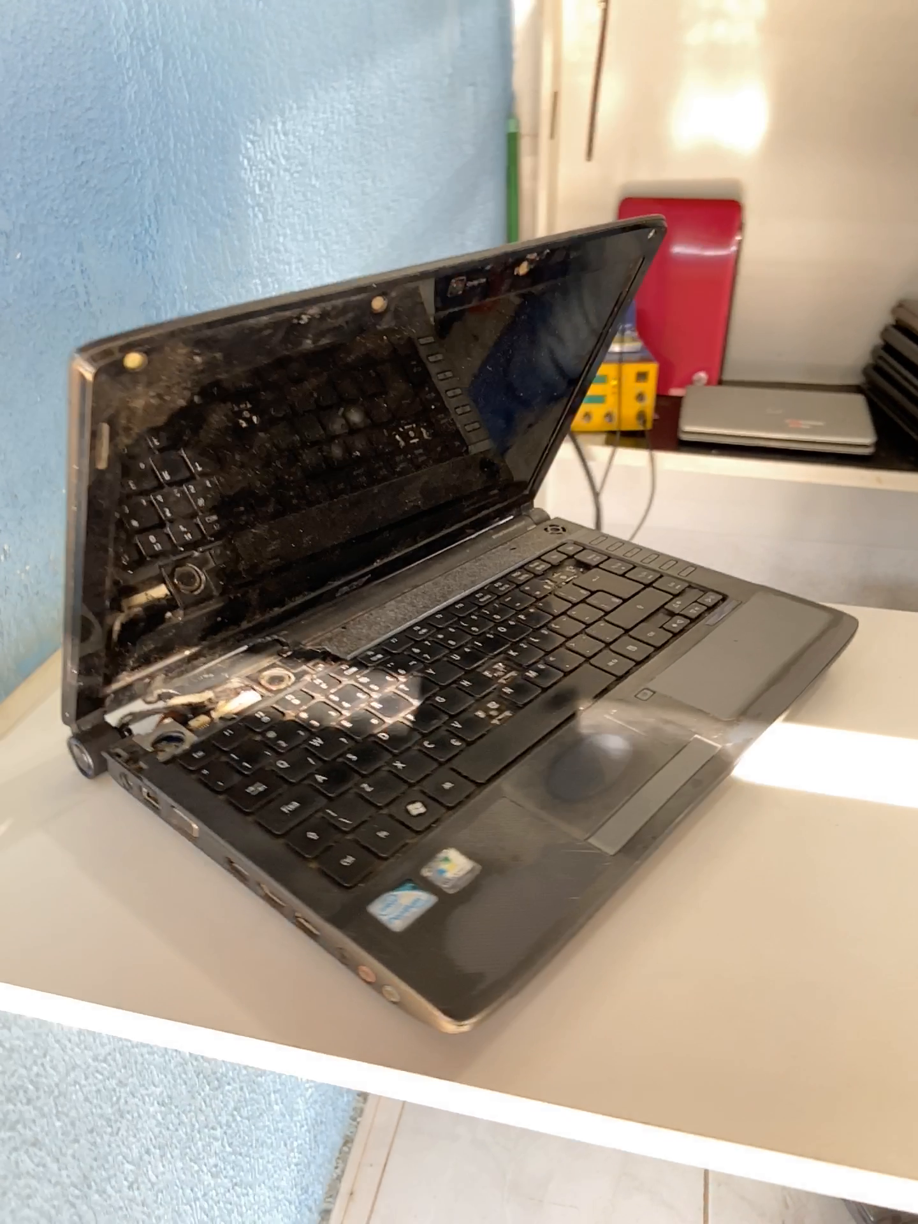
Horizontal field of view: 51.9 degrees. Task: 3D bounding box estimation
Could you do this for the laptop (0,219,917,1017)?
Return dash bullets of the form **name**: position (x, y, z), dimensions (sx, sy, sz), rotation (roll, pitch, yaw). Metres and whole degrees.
- **laptop**: position (0.023, -0.052, 0.429), dimensions (0.228, 0.182, 0.335), rotation (23, 37, 35)
